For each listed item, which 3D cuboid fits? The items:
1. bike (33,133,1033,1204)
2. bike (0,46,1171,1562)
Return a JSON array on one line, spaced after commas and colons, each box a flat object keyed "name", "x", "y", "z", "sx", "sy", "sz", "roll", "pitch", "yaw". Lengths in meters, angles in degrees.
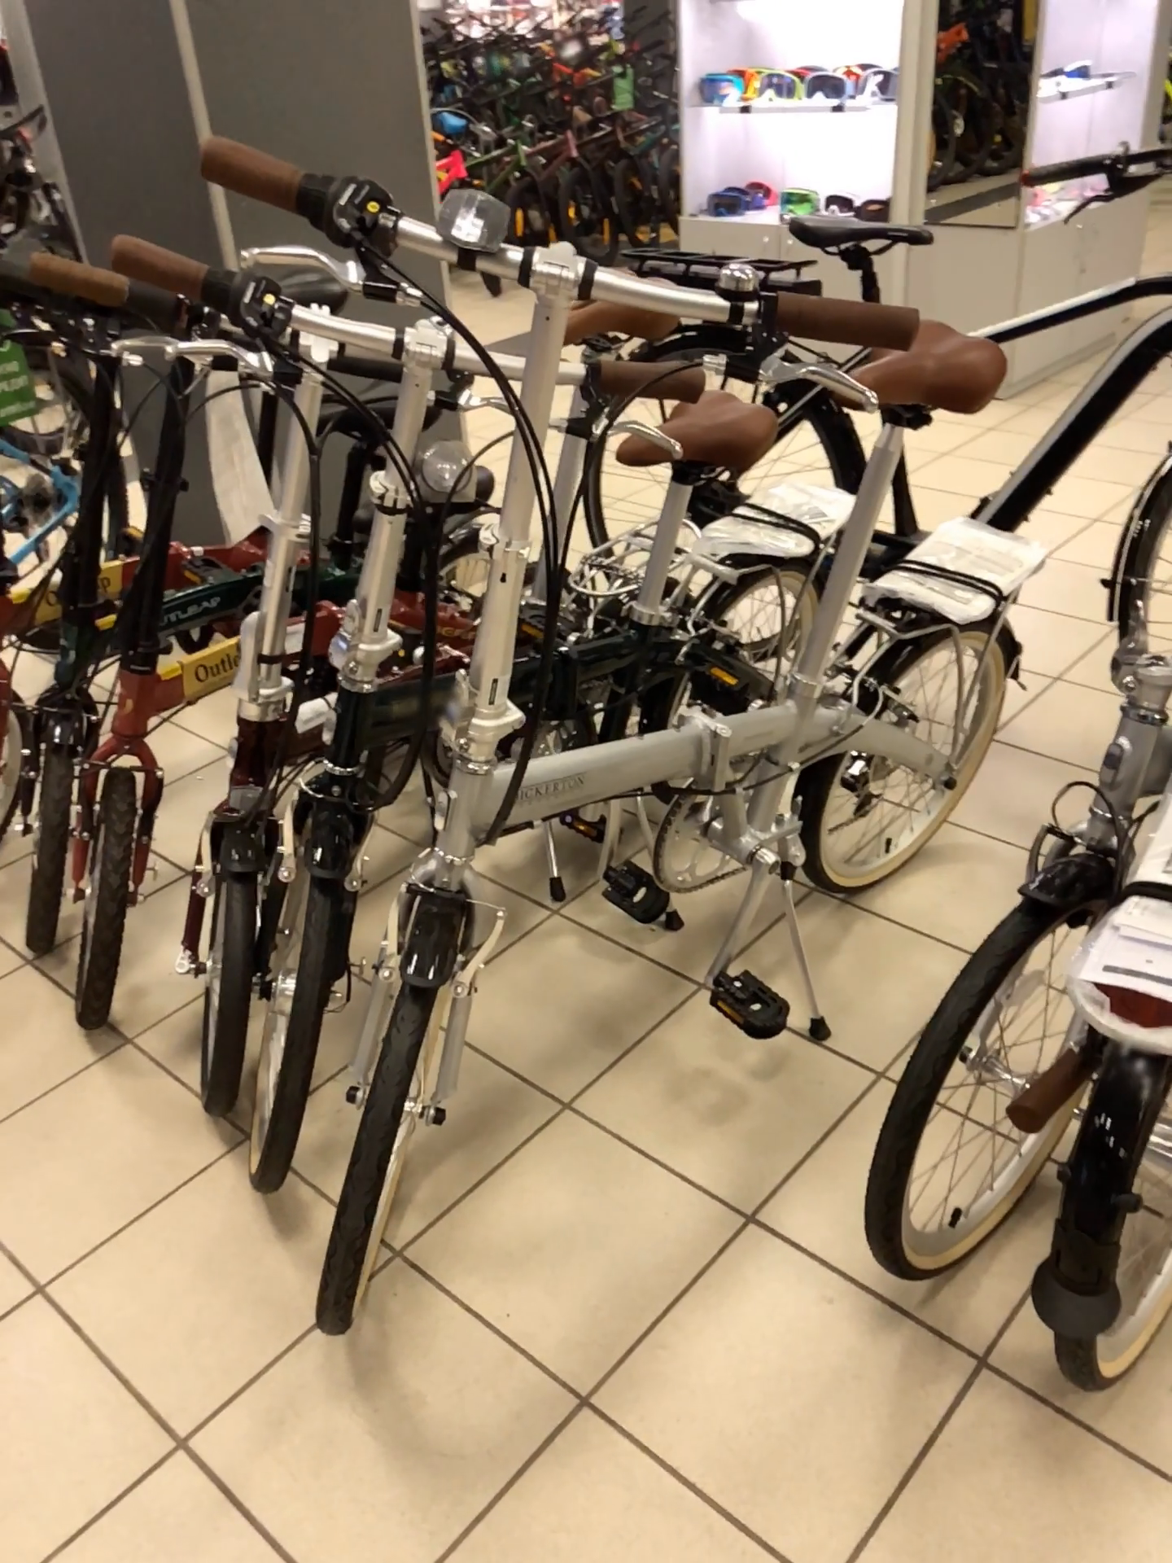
[{"name": "bike", "x": 0.052, "y": -0.254, "z": 1.813, "sx": 0.557, "sy": 1.037, "sz": 1.143, "roll": 19, "pitch": 39, "yaw": 35}, {"name": "bike", "x": 0.198, "y": -0.139, "z": 1.459, "sx": 0.554, "sy": 1.153, "sz": 1.362, "roll": 22, "pitch": 38, "yaw": 37}]
